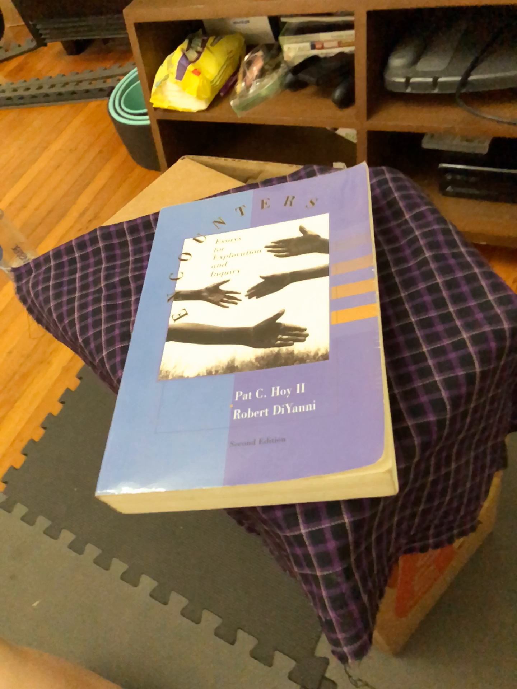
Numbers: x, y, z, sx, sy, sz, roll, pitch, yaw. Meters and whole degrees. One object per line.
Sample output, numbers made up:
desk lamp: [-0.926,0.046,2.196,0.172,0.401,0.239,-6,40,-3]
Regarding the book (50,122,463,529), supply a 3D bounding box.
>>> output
book: [0.002,-0.025,0.358,0.200,0.040,0.261,-7,52,15]
